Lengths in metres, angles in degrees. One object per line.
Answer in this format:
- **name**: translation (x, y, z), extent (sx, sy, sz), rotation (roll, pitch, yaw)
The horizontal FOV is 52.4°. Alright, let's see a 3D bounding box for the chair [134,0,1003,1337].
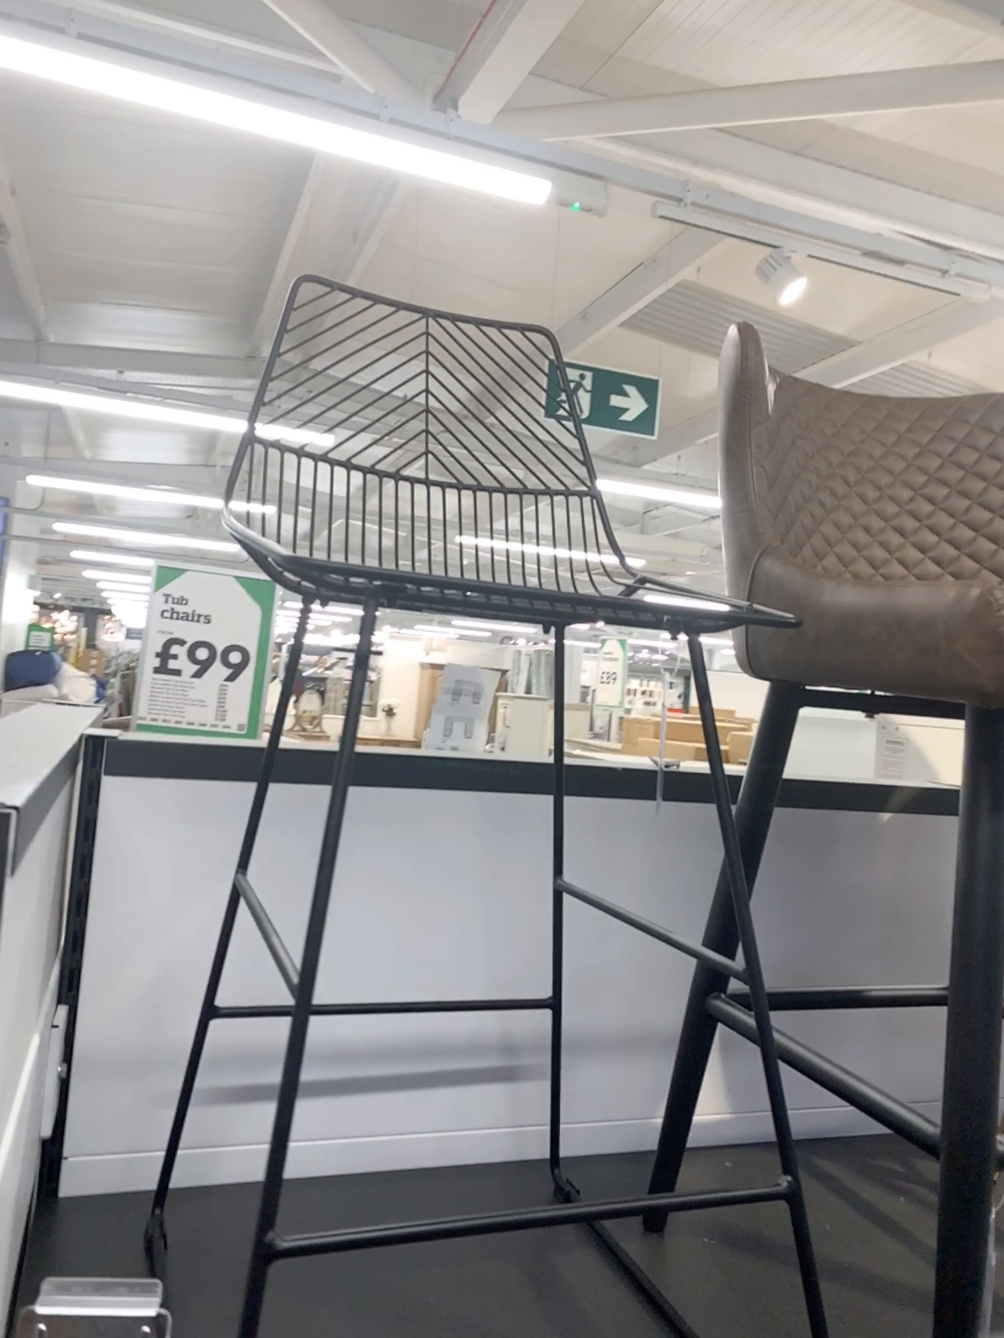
- **chair**: translation (0.003, 0.069, 0.879), extent (0.504, 0.965, 0.529), rotation (6, -3, -20)
